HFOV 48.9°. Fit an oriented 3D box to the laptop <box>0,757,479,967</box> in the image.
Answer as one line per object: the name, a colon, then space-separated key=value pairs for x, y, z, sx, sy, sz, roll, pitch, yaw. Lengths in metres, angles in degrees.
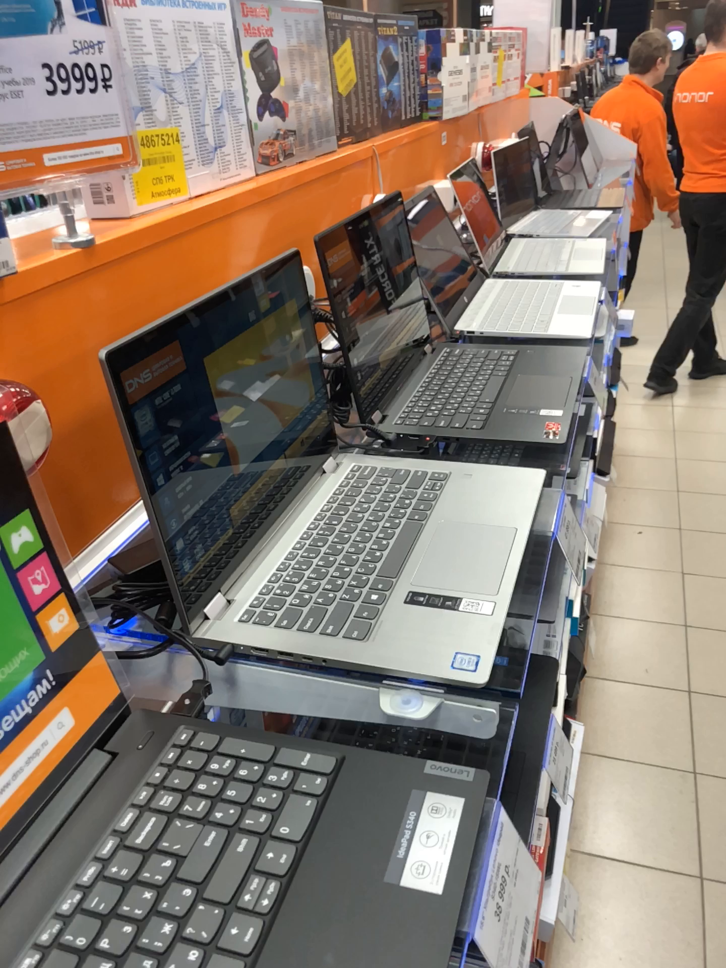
laptop: x=-0.092 y=0.402 z=0.434 sx=0.238 sy=0.235 sz=0.380 roll=6 pitch=29 yaw=18

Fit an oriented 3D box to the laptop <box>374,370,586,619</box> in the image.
laptop: x=0.181 y=-0.003 z=1.166 sx=0.237 sy=0.213 sz=0.310 roll=5 pitch=30 yaw=19

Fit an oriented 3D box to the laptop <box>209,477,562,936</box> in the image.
laptop: x=0.053 y=0.186 z=0.821 sx=0.263 sy=0.207 sz=0.369 roll=6 pitch=30 yaw=16

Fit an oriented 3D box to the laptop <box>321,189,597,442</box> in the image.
laptop: x=0.130 y=-0.215 z=0.954 sx=0.247 sy=0.209 sz=0.291 roll=6 pitch=29 yaw=18

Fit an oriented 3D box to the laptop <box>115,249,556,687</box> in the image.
laptop: x=0.012 y=-0.046 z=0.644 sx=0.238 sy=0.212 sz=0.317 roll=6 pitch=29 yaw=18

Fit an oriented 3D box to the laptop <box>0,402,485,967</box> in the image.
laptop: x=-0.108 y=0.126 z=0.299 sx=0.278 sy=0.212 sz=0.306 roll=4 pitch=26 yaw=14
